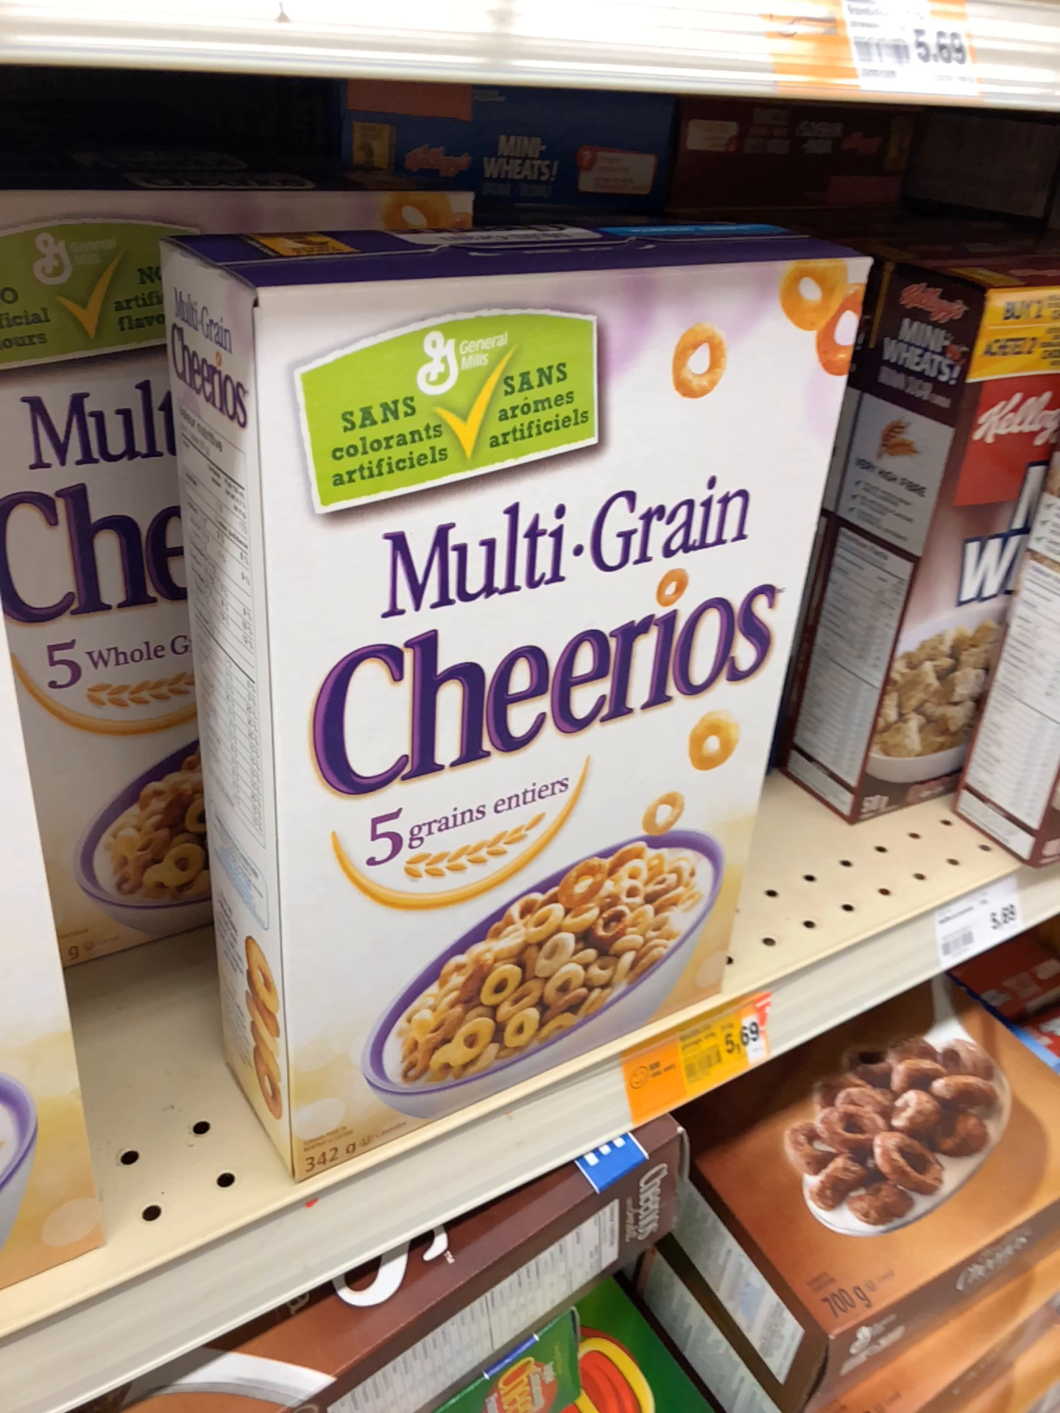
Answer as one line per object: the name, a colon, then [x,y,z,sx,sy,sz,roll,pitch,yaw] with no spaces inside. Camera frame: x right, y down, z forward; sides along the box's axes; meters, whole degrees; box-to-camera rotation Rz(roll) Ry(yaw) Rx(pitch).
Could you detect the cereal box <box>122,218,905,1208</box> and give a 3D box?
cereal box: [-0.005,0.001,0.369,0.201,0.278,0.060,-14,35,-30]
